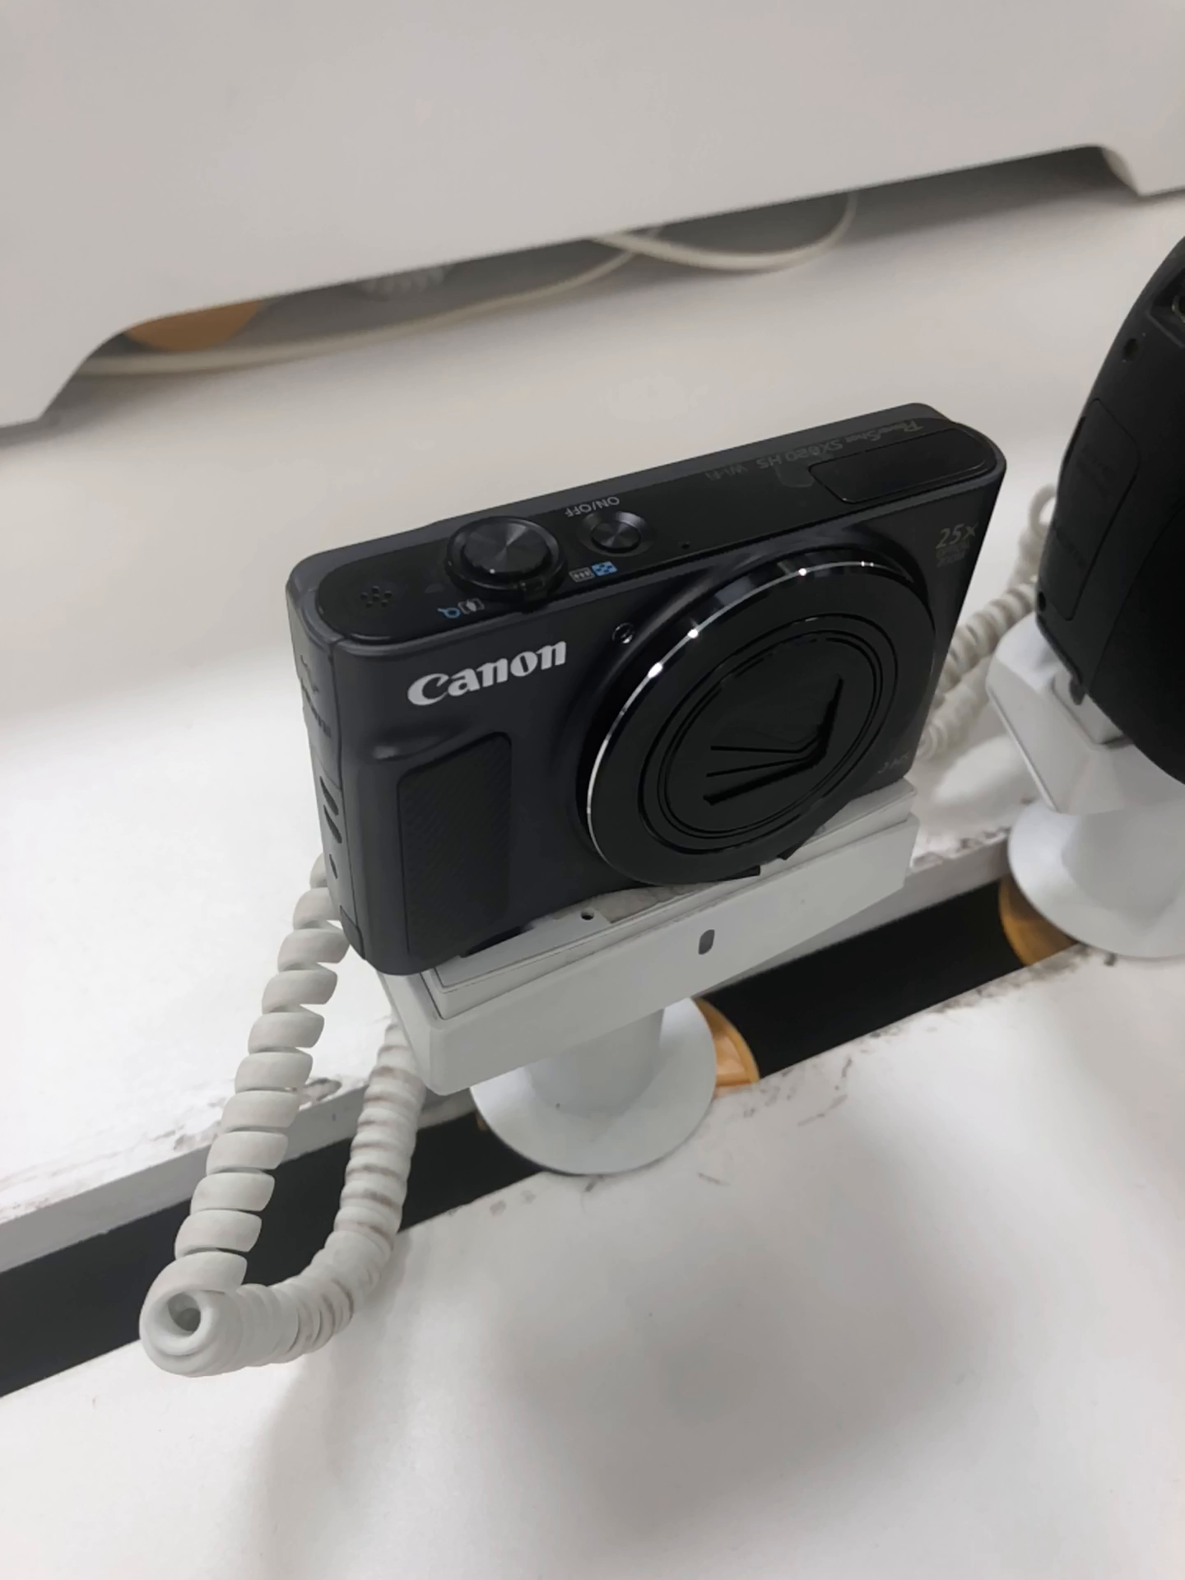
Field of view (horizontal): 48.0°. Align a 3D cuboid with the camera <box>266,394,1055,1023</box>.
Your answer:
[{"bbox_3d":[0.009,-0.012,0.177,0.093,0.057,0.025,-20,54,-21],"label":"camera"}]
